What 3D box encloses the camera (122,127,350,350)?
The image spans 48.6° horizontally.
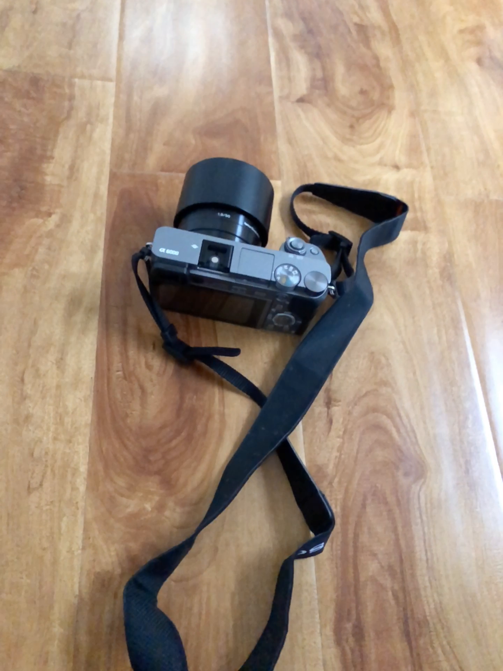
[{"bbox_3d":[-0.010,-0.068,0.408,0.140,0.080,0.110,11,62,-5],"label":"camera"}]
